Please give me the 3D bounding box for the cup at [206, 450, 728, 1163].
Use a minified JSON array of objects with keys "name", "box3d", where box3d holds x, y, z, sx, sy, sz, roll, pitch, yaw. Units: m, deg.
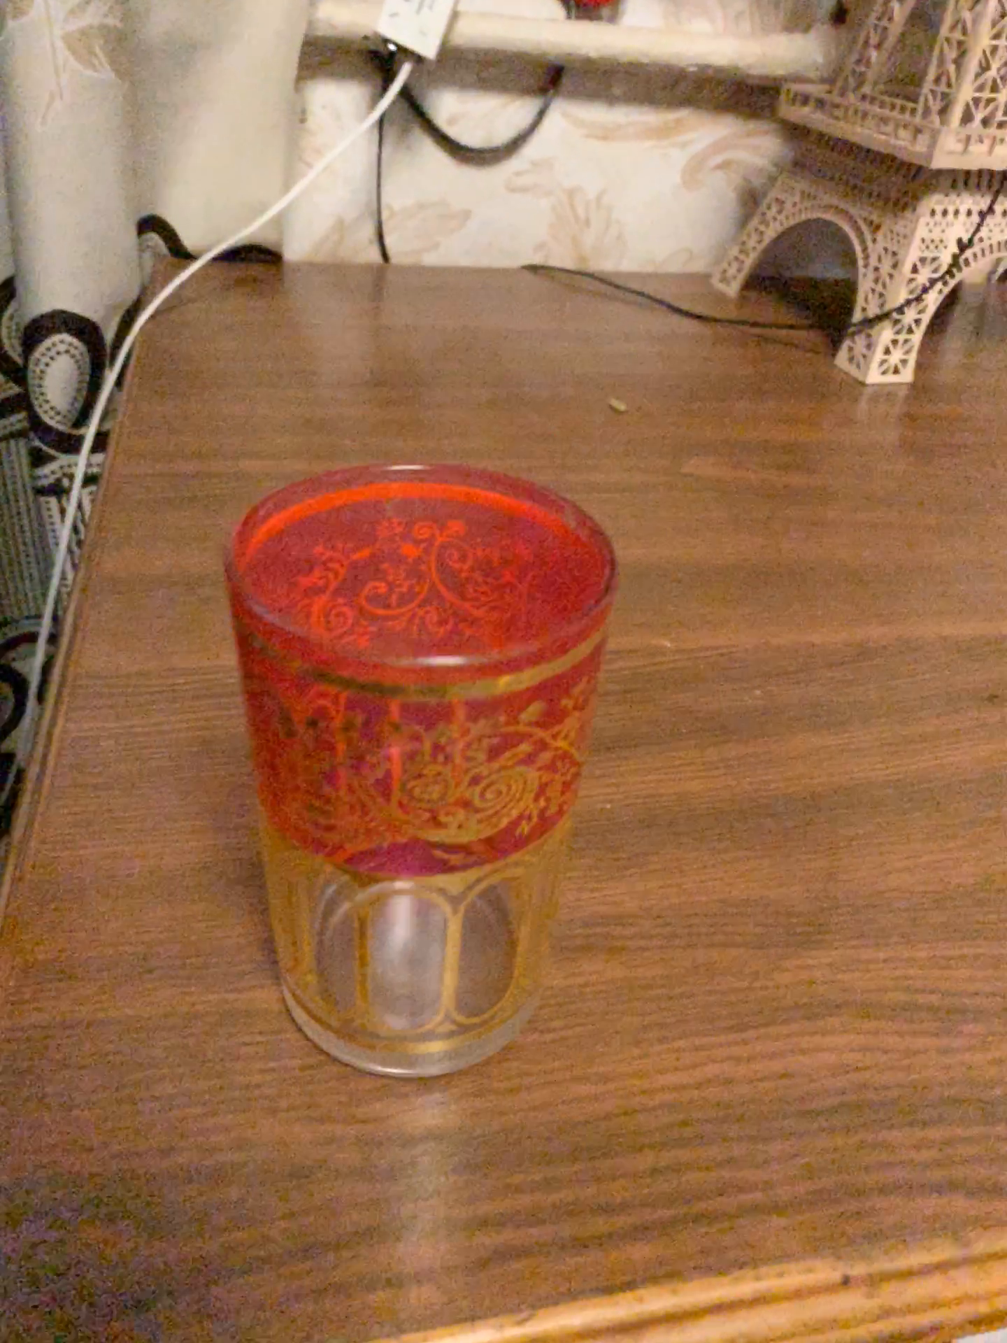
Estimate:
[{"name":"cup","box3d":[-0.013,0.022,0.192,0.067,0.099,0.070,3,34,-2]}]
